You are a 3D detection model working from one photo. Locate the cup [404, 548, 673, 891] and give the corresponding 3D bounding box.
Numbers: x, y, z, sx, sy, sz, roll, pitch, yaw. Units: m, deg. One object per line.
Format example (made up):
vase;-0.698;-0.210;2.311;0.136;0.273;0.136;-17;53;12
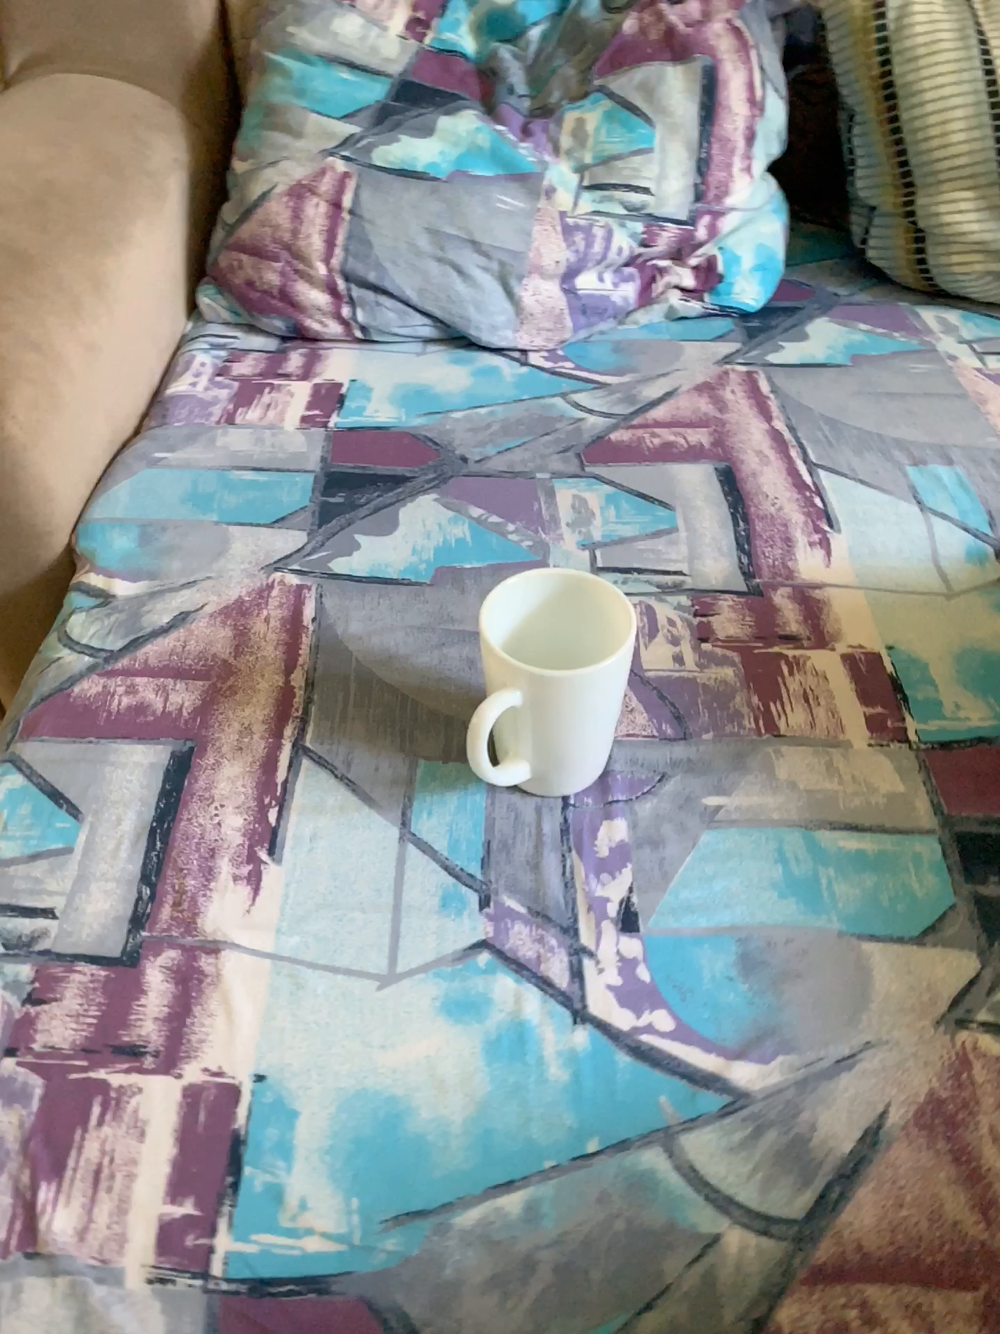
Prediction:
cup;0.022;0.024;0.517;0.080;0.099;0.121;21;48;22
